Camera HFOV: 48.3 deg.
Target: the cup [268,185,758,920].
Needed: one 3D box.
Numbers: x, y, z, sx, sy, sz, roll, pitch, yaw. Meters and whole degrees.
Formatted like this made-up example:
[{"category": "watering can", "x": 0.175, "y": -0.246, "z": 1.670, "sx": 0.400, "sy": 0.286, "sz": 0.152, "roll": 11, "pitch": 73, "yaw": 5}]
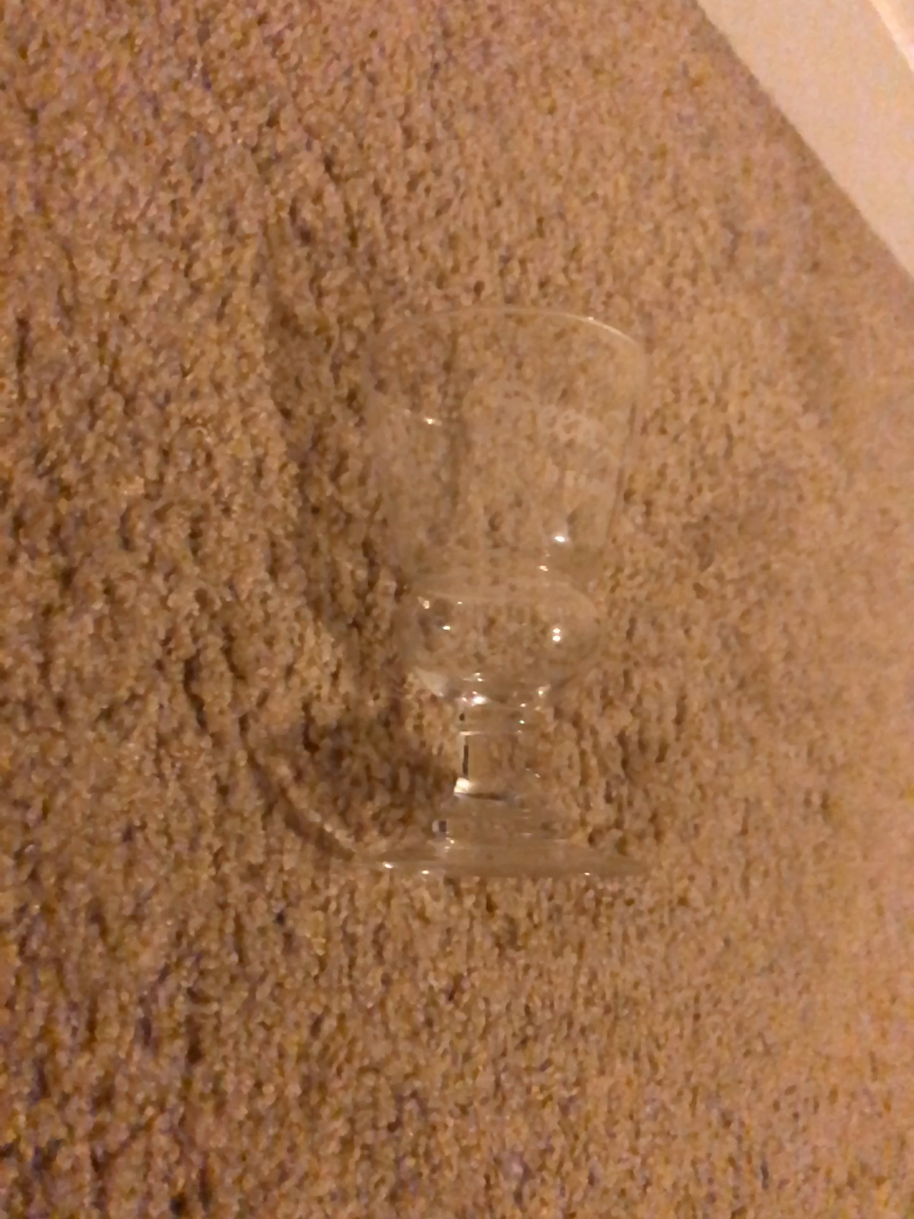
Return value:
[{"category": "cup", "x": 0.013, "y": -0.005, "z": 0.270, "sx": 0.095, "sy": 0.078, "sz": 0.157, "roll": 10, "pitch": 72, "yaw": -46}]
